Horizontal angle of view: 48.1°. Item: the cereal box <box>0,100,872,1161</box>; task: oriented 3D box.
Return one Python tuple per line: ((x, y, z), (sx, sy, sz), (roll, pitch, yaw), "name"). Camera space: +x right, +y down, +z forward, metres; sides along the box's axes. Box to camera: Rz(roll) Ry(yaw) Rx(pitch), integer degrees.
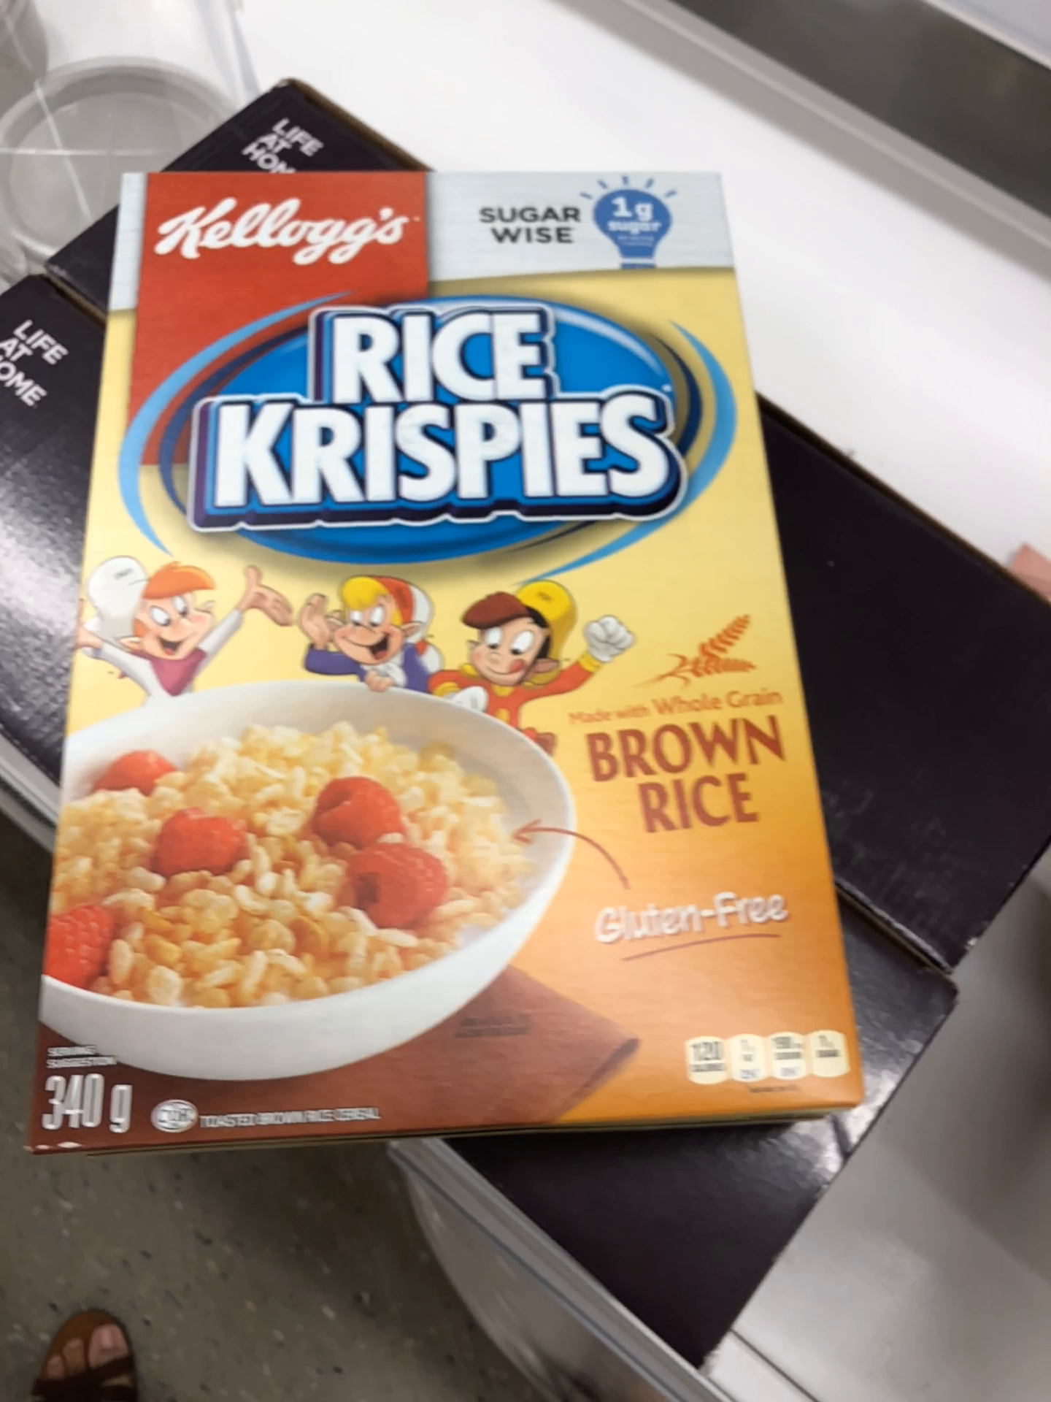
((-0.037, -0.039, 0.374), (0.220, 0.070, 0.330), (-1, 66, -6), "cereal box")
